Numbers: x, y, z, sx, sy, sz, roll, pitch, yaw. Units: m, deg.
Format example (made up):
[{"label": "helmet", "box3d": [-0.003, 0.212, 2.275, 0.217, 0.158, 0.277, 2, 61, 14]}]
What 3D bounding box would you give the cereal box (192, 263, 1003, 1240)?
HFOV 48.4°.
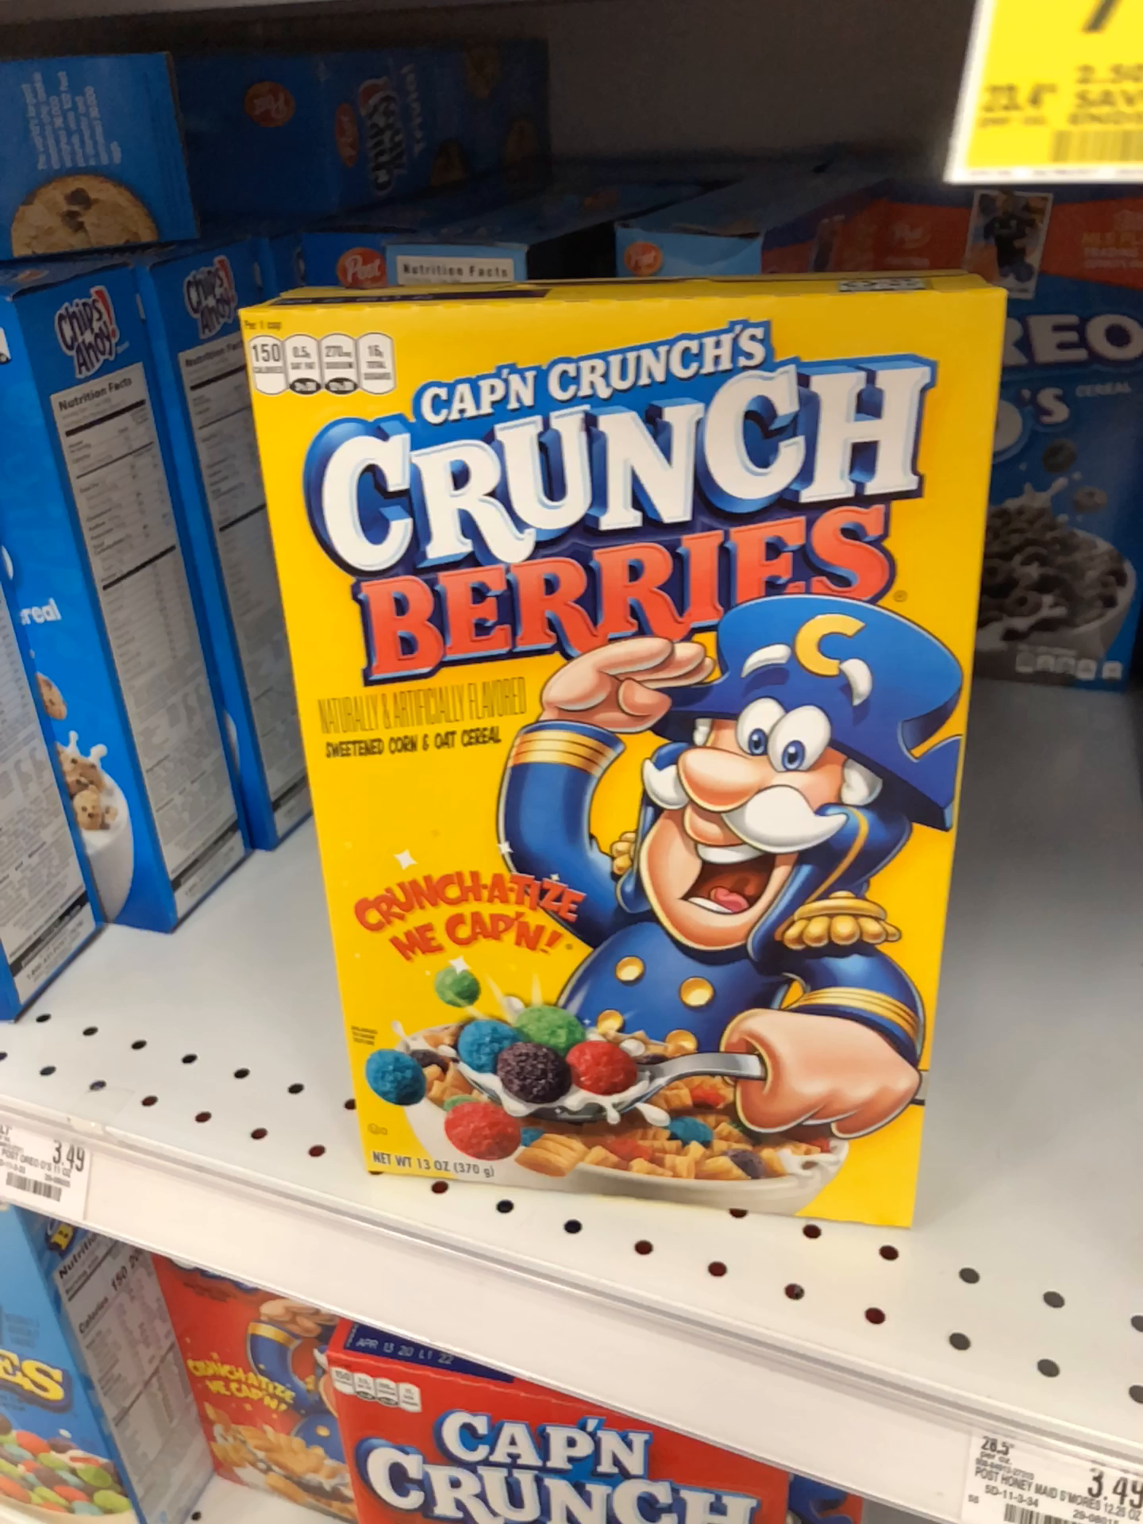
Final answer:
[{"label": "cereal box", "box3d": [0.012, 0.005, 0.395, 0.200, 0.289, 0.060, 3, 25, 11]}]
